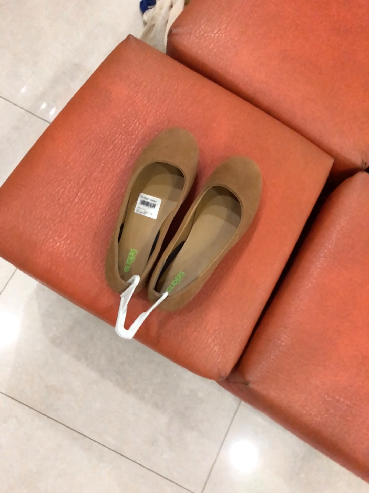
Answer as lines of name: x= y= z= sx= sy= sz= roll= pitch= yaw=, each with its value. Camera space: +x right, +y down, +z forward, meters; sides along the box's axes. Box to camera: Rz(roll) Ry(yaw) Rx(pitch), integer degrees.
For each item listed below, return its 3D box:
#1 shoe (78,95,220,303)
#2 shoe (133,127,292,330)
shoe: x=-0.047 y=-0.071 z=0.606 sx=0.094 sy=0.071 sz=0.286 roll=22 pitch=74 yaw=-1
shoe: x=0.043 y=-0.028 z=0.608 sx=0.097 sy=0.071 sz=0.286 roll=32 pitch=74 yaw=0
